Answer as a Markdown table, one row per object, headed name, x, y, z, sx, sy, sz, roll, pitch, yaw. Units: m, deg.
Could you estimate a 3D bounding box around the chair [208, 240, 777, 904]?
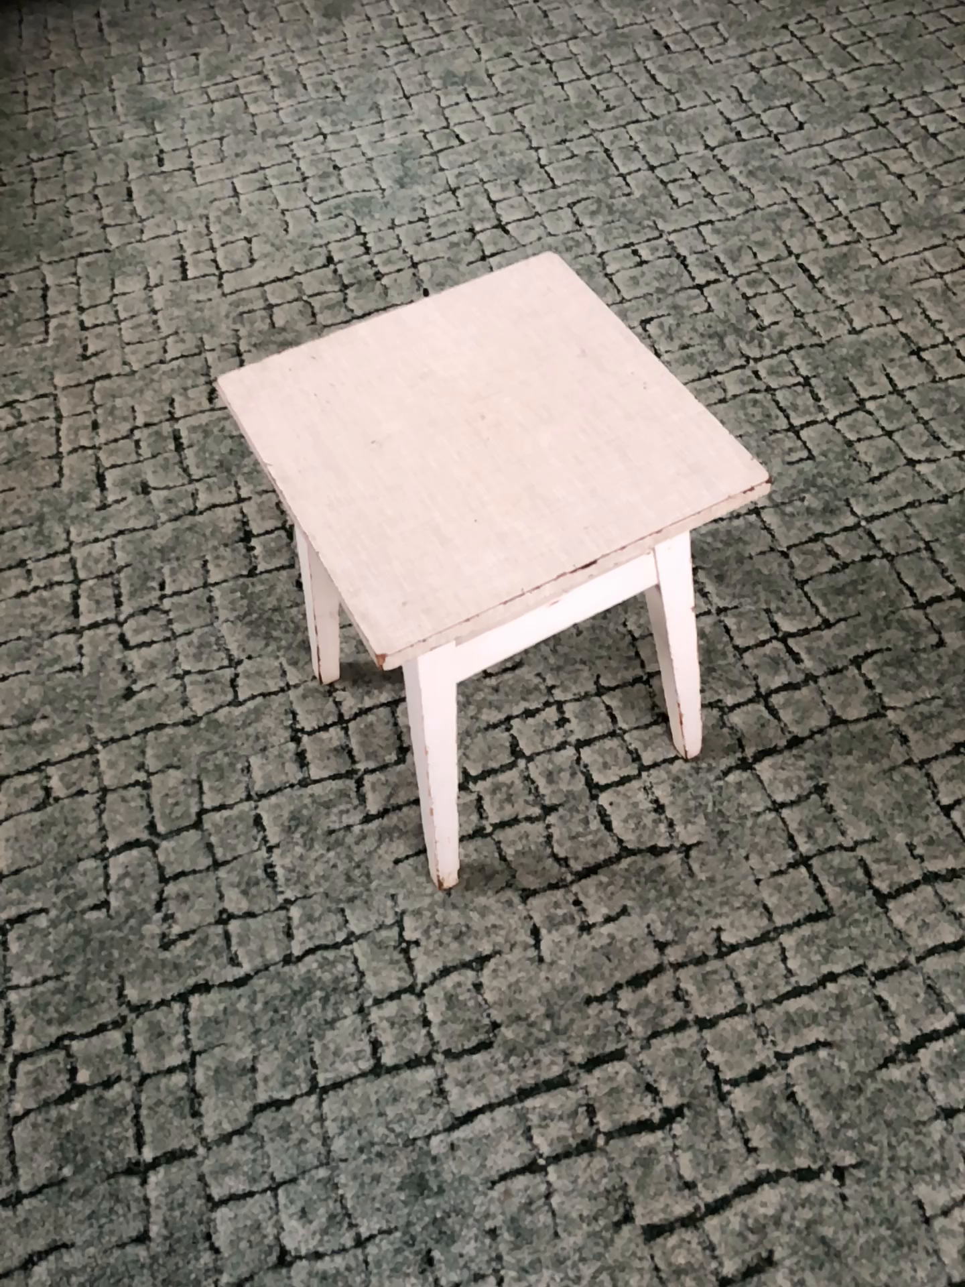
| name | x | y | z | sx | sy | sz | roll | pitch | yaw |
| --- | --- | --- | --- | --- | --- | --- | --- | --- | --- |
| chair | 0.009 | -0.050 | 1.014 | 0.332 | 0.447 | 0.336 | -25 | 57 | -12 |
